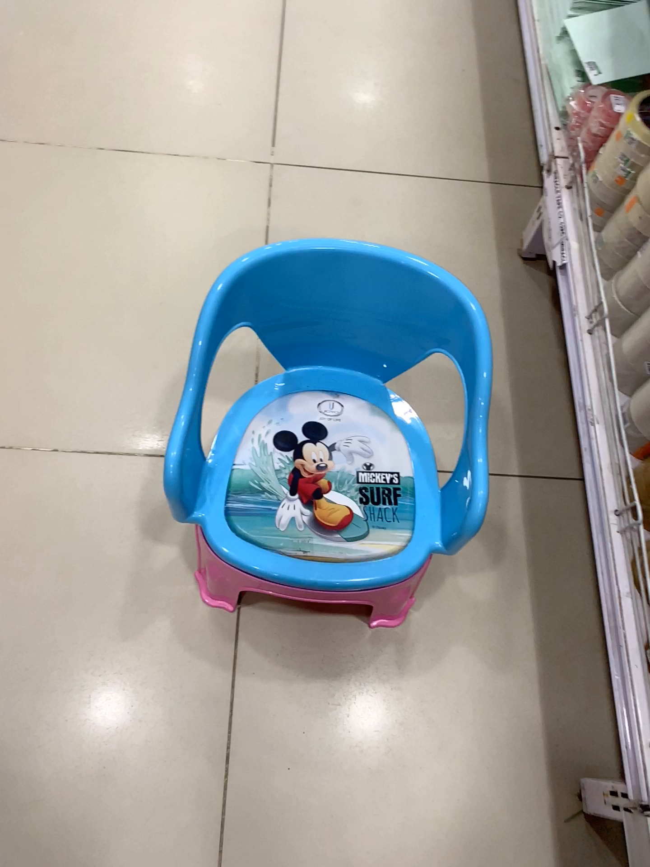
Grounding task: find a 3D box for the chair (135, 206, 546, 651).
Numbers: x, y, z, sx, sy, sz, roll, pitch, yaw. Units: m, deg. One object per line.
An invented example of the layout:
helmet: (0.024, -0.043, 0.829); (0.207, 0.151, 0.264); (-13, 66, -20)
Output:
chair: (0.022, 0.019, 0.784); (0.350, 0.320, 0.390); (7, 66, -2)
